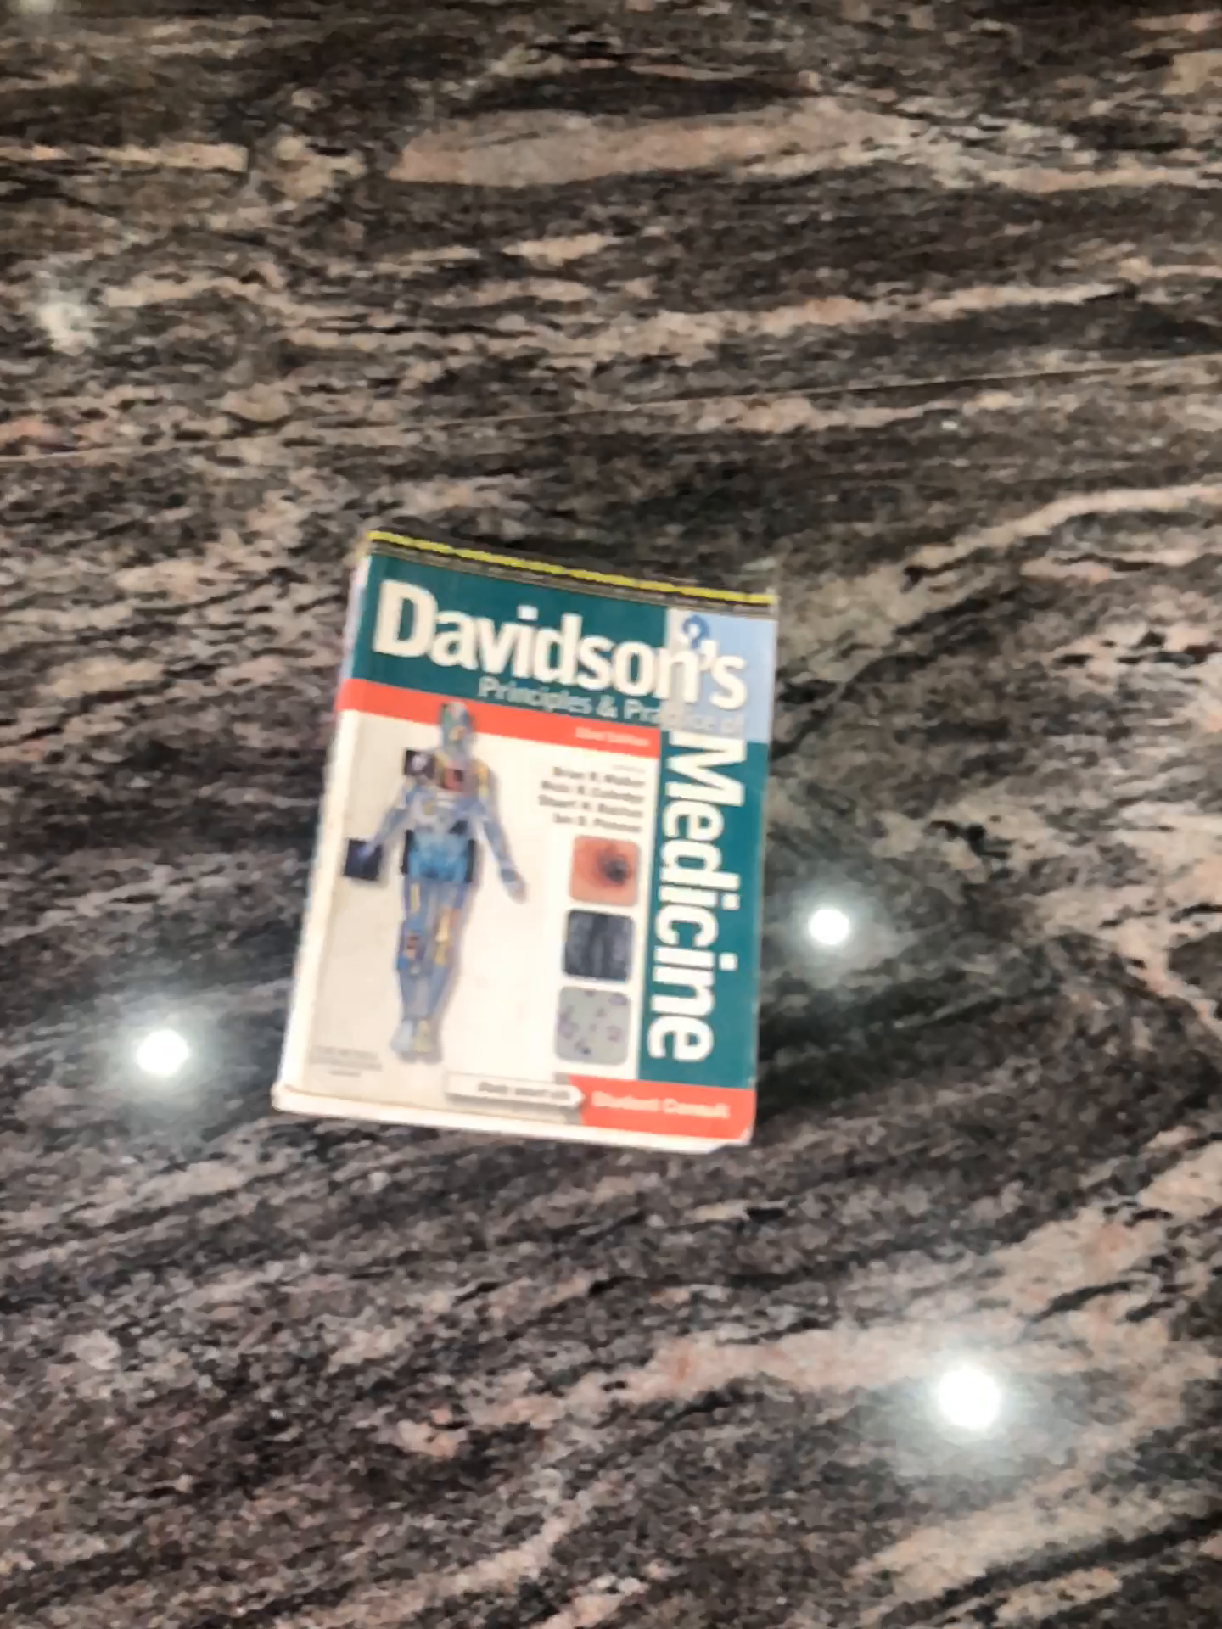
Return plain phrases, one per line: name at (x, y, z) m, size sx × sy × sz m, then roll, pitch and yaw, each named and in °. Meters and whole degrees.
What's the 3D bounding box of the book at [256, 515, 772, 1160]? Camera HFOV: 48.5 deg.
book at (-0.037, 0.012, 0.616) m, size 0.200 × 0.070 × 0.260 m, roll 8°, pitch 69°, yaw -10°
